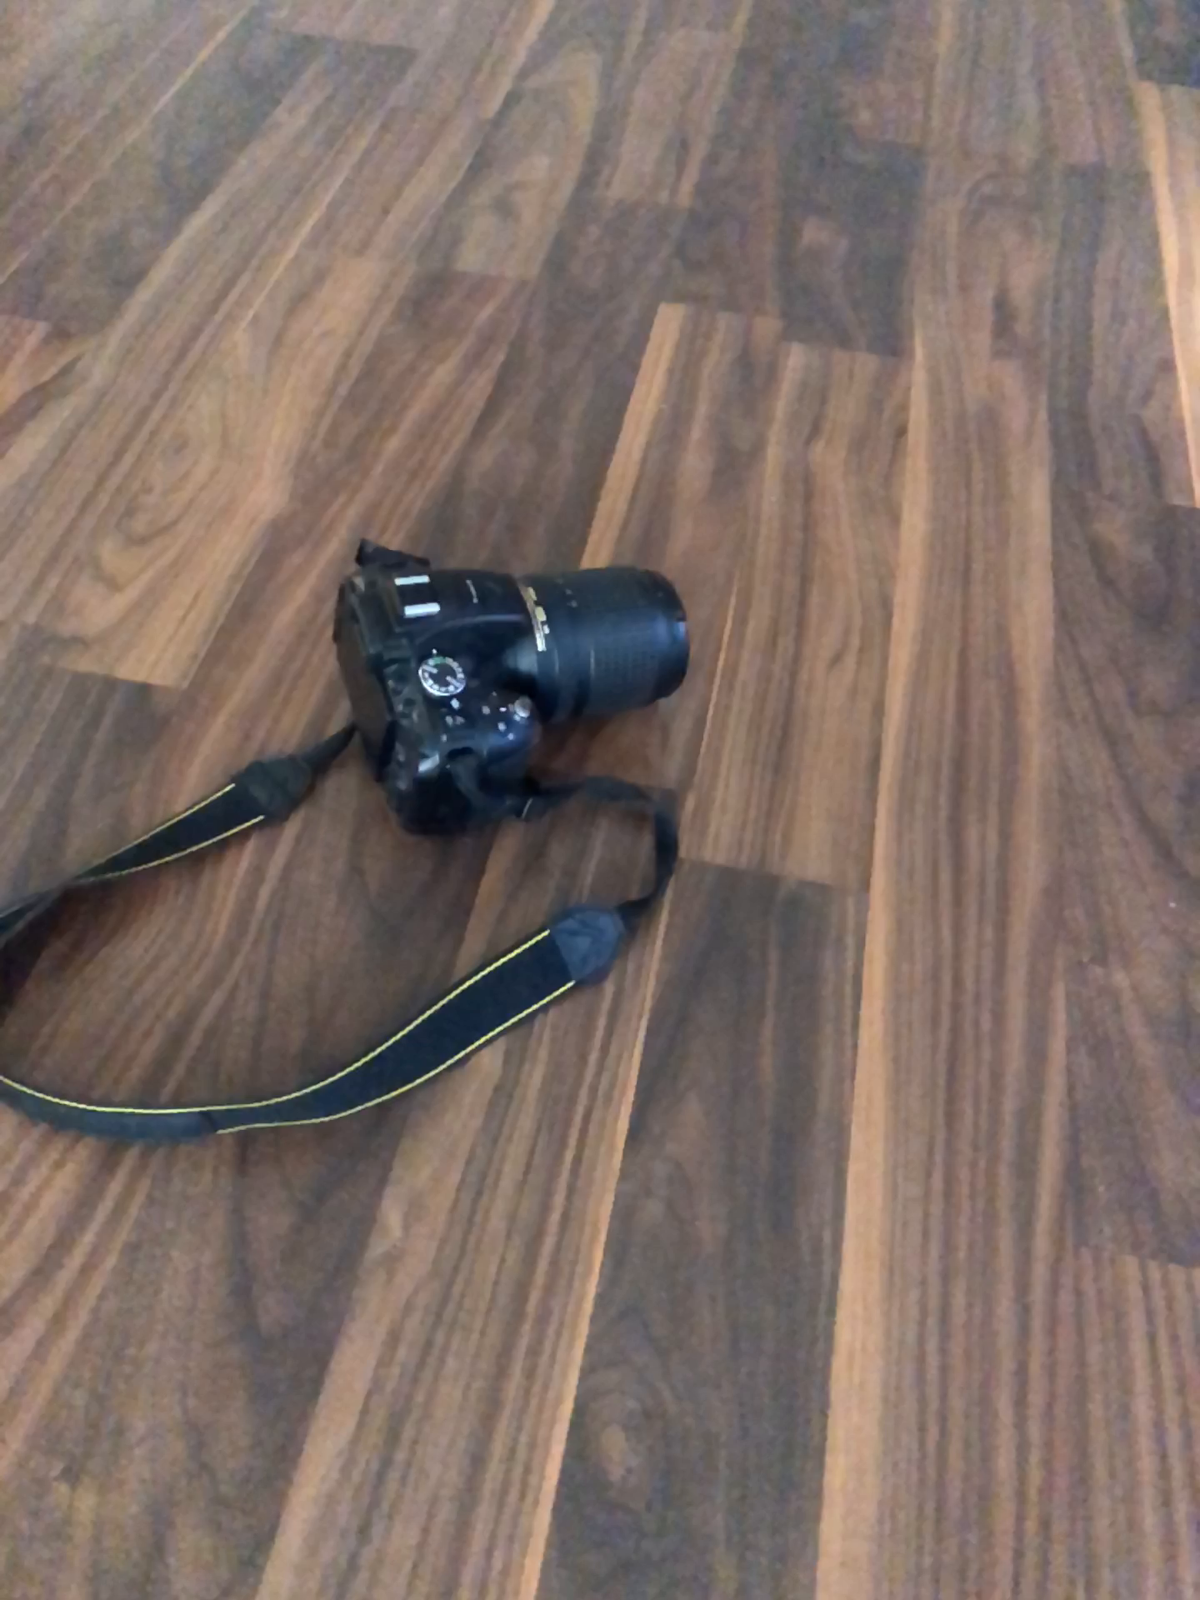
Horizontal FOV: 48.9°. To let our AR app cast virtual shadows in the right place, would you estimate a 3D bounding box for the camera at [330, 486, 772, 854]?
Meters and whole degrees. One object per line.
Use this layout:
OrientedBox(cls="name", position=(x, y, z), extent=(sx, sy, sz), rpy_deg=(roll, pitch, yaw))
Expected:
OrientedBox(cls="camera", position=(-0.025, -0.064, 0.602), extent=(0.160, 0.070, 0.120), rpy_deg=(-16, 52, -16))
